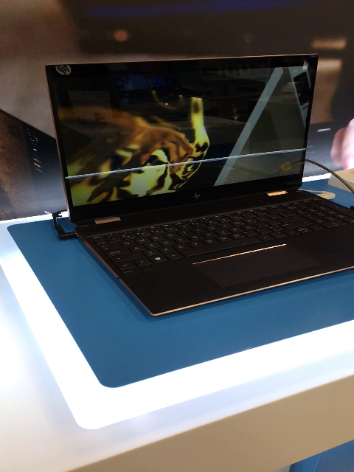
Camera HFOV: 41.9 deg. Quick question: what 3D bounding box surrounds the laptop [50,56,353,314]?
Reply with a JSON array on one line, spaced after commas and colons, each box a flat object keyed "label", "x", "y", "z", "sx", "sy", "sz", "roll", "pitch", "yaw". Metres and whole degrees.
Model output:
[{"label": "laptop", "x": 0.088, "y": -0.094, "z": 0.559, "sx": 0.379, "sy": 0.211, "sz": 0.263, "roll": -12, "pitch": 30, "yaw": -22}]
